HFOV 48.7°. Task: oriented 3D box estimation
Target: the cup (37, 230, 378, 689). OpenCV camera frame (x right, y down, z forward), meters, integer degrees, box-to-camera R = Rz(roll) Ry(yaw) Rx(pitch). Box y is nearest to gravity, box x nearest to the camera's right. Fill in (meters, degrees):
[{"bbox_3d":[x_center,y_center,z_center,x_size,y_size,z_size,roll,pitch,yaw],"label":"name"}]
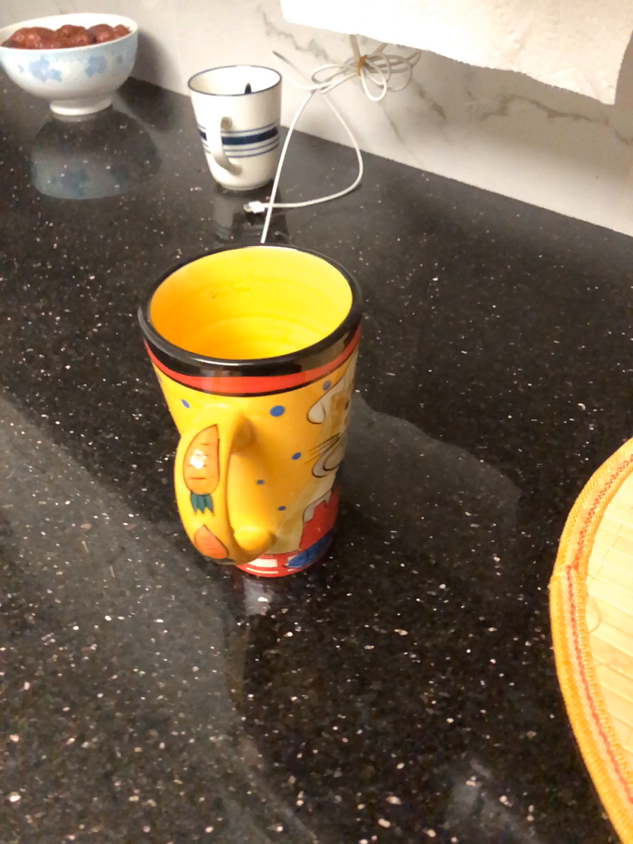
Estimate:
[{"bbox_3d":[-0.029,0.014,0.307,0.090,0.139,0.131,7,43,10],"label":"cup"}]
